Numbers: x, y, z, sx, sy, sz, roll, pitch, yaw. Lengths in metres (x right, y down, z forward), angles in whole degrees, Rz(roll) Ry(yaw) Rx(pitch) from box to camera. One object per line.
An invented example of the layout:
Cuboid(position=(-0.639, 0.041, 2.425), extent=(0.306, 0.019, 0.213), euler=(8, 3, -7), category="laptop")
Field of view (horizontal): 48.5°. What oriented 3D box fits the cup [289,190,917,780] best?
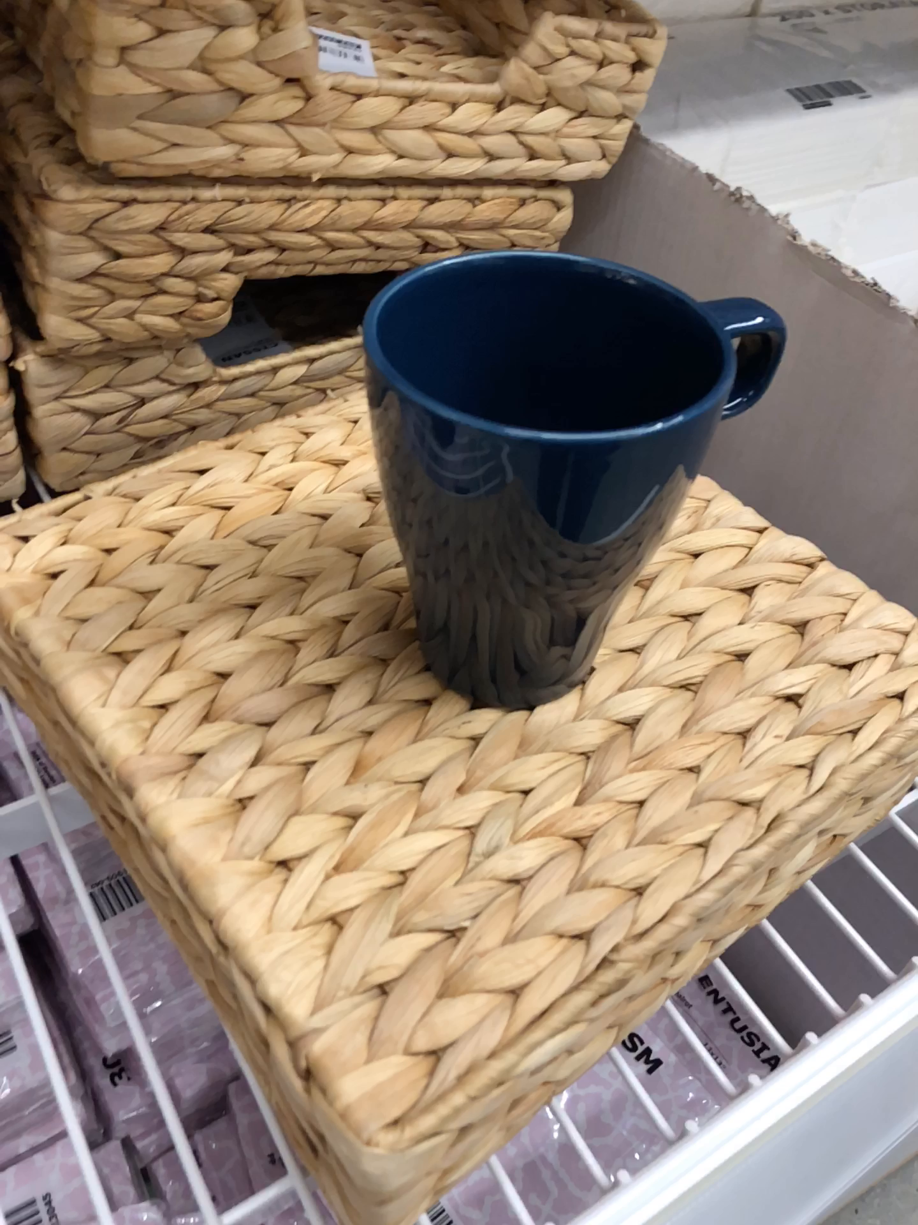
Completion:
Cuboid(position=(0.031, -0.035, 0.246), extent=(0.120, 0.090, 0.080), euler=(-15, 48, -20), category="cup")
